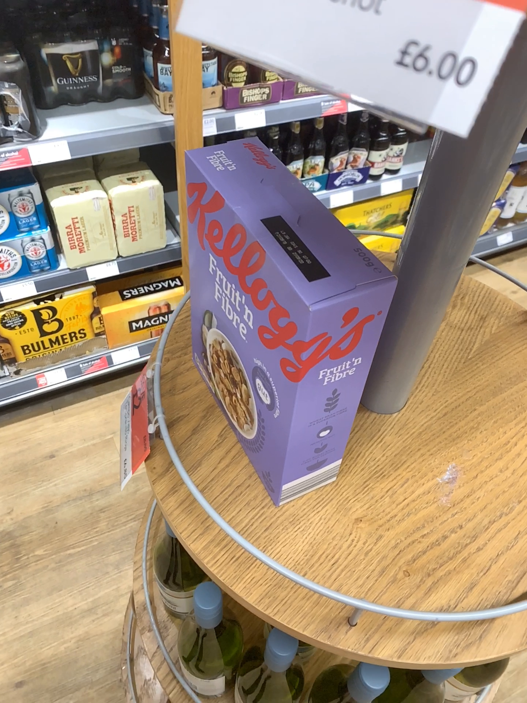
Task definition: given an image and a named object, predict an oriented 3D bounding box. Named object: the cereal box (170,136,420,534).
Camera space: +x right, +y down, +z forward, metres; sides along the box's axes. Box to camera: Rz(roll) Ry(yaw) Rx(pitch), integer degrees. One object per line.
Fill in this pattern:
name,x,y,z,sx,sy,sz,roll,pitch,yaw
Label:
cereal box,0.000,-0.007,0.431,0.070,0.238,0.201,-18,52,-21
